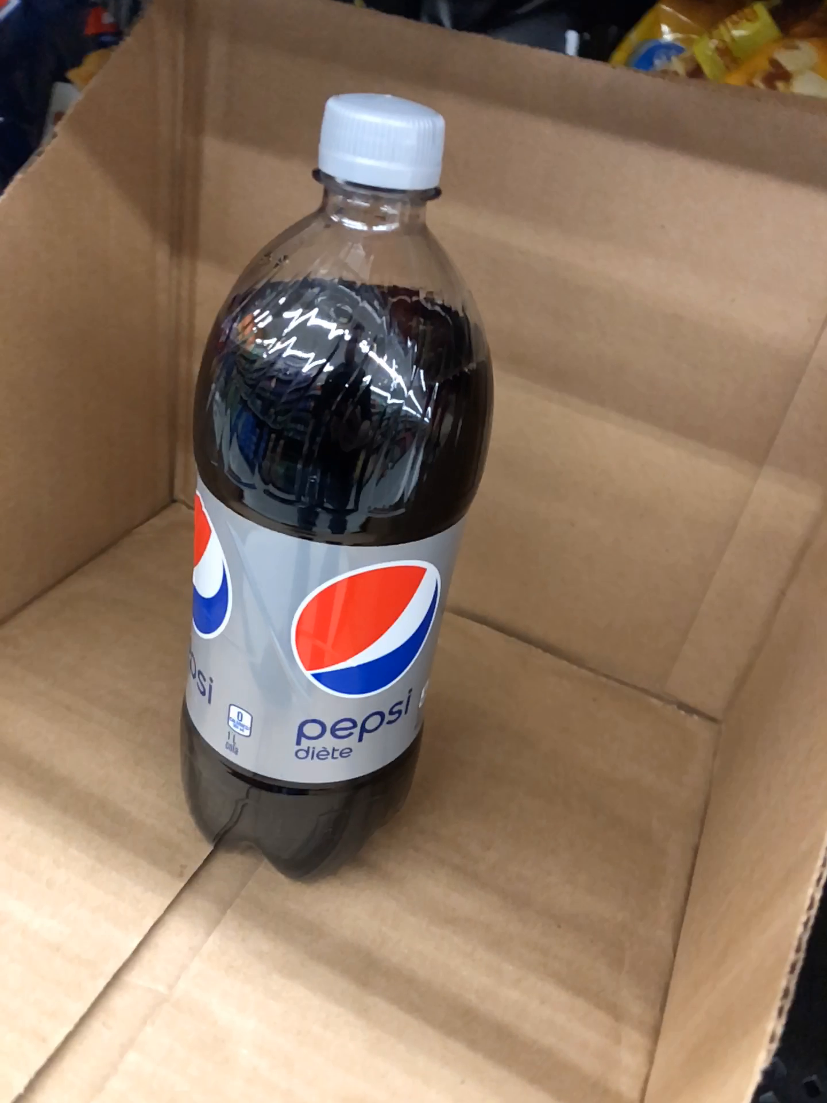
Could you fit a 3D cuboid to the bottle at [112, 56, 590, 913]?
[{"bbox_3d":[-0.033,-0.004,0.266,0.090,0.228,0.081,-2,37,-16],"label":"bottle"}]
